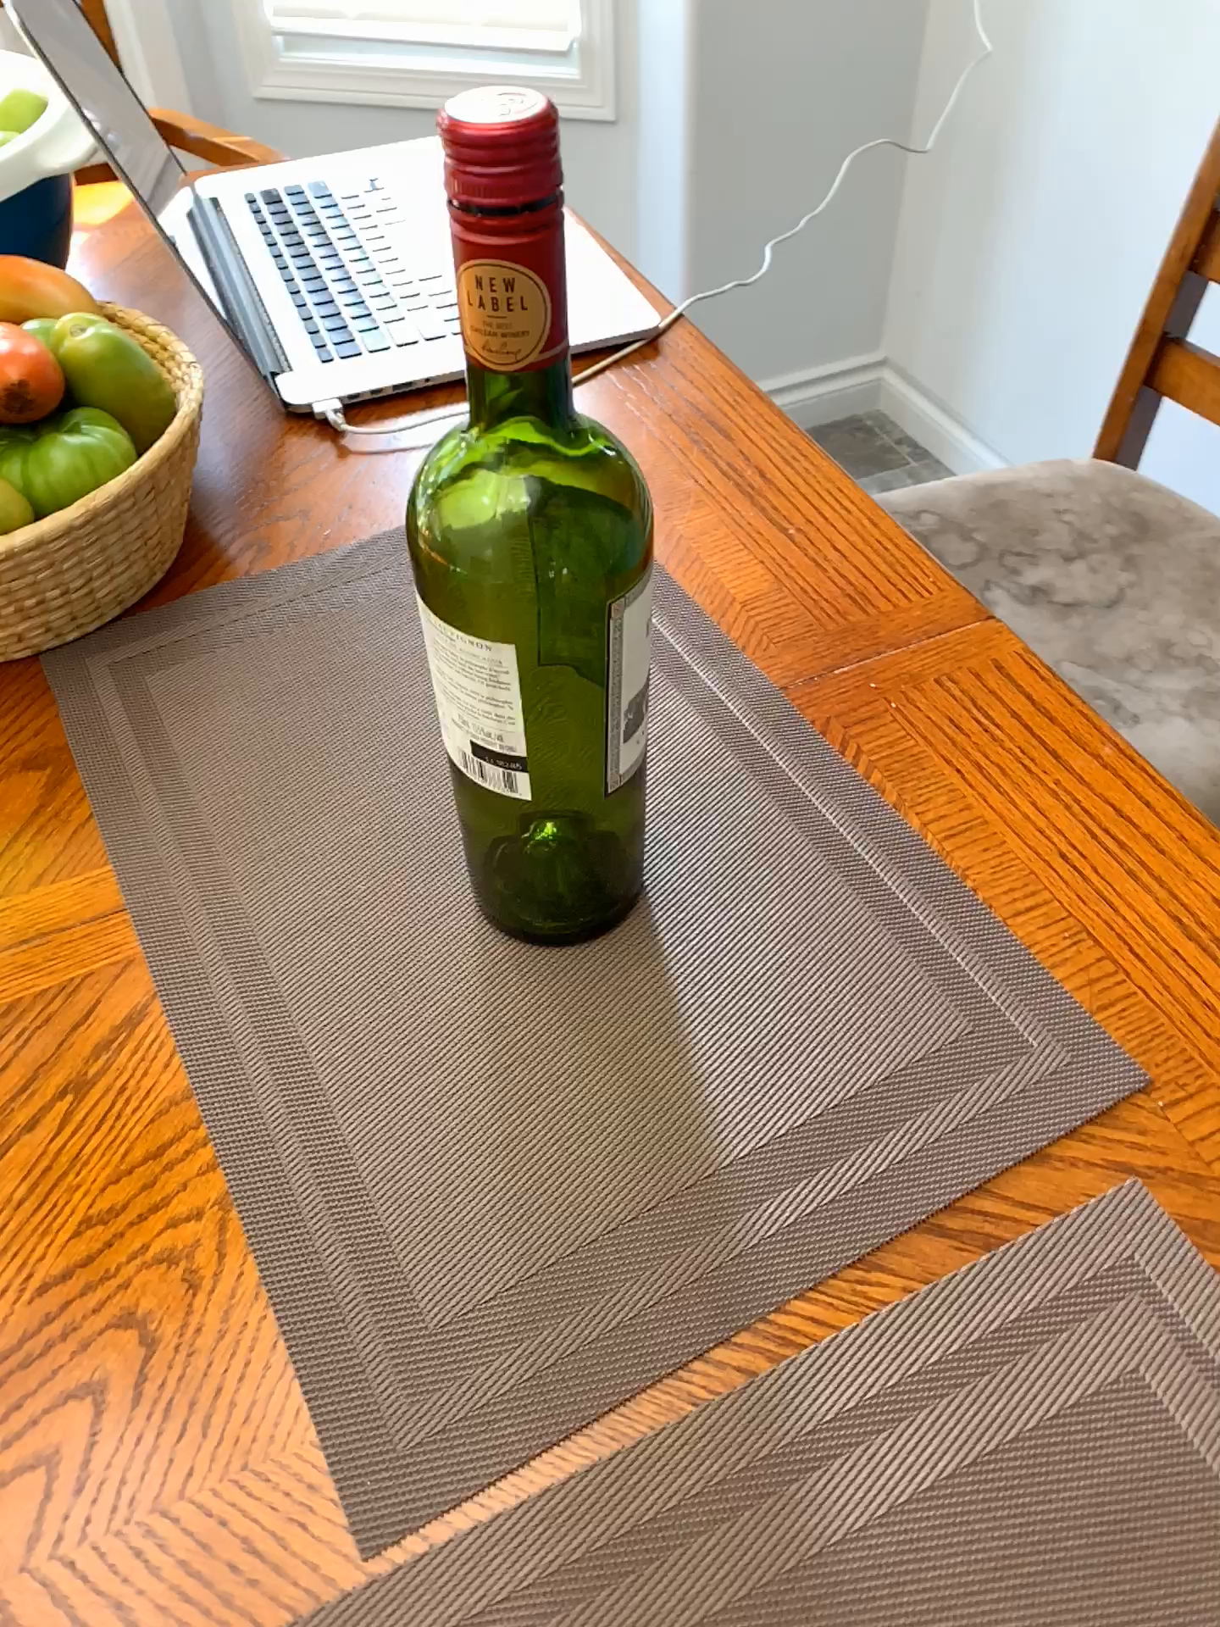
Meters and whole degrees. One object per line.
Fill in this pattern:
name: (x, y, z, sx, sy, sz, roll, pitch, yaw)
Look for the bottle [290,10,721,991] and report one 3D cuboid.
bottle: (-0.026, -0.076, 0.420, 0.080, 0.307, 0.091, -18, 50, -15)
